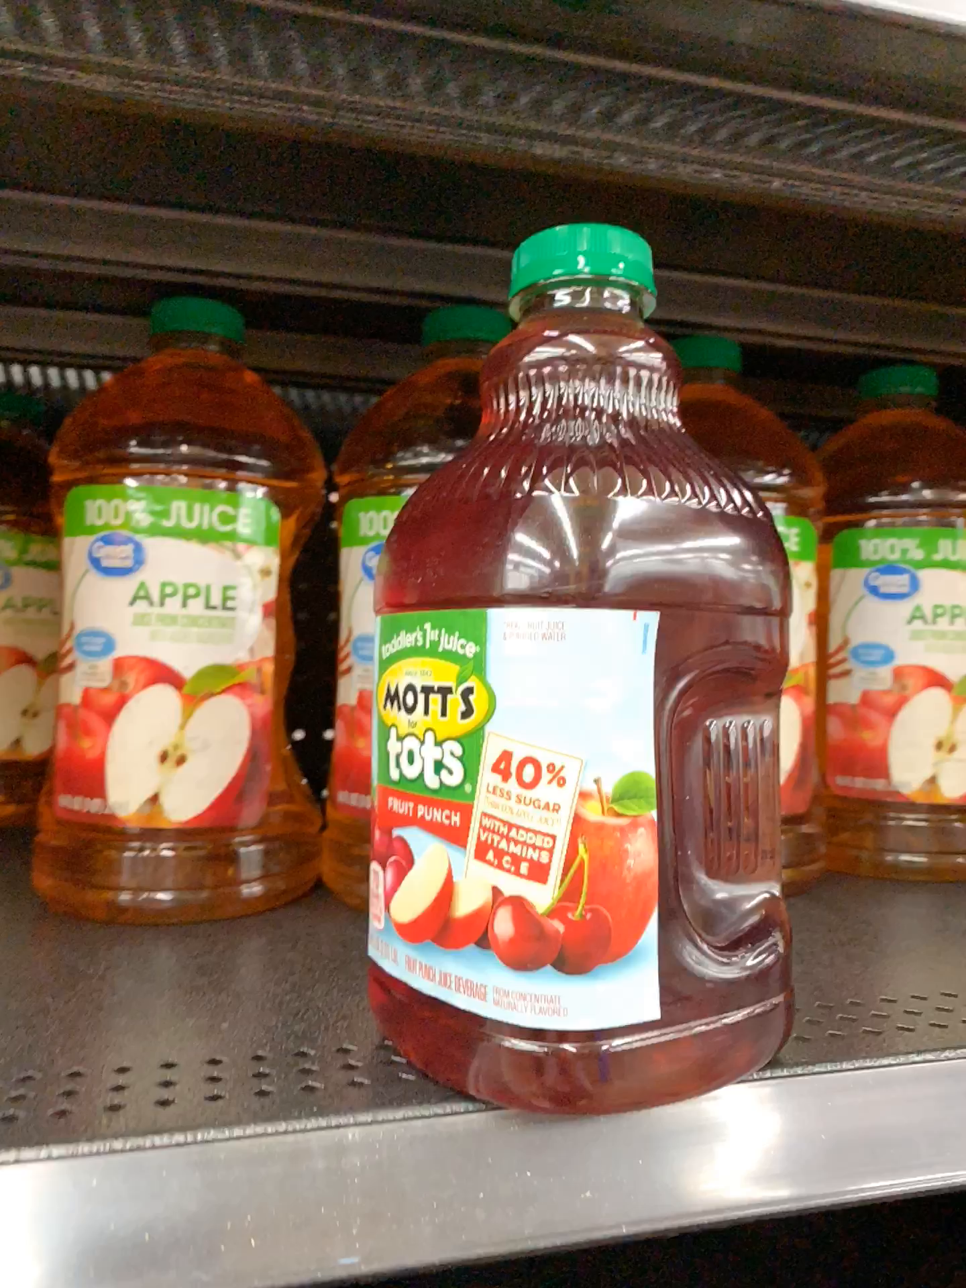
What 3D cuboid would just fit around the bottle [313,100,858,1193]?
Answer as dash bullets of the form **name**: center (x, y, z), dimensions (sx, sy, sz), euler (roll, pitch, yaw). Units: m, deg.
- **bottle**: center (0.030, -0.001, 0.311), dimensions (0.110, 0.250, 0.120), euler (1, 0, 0)
